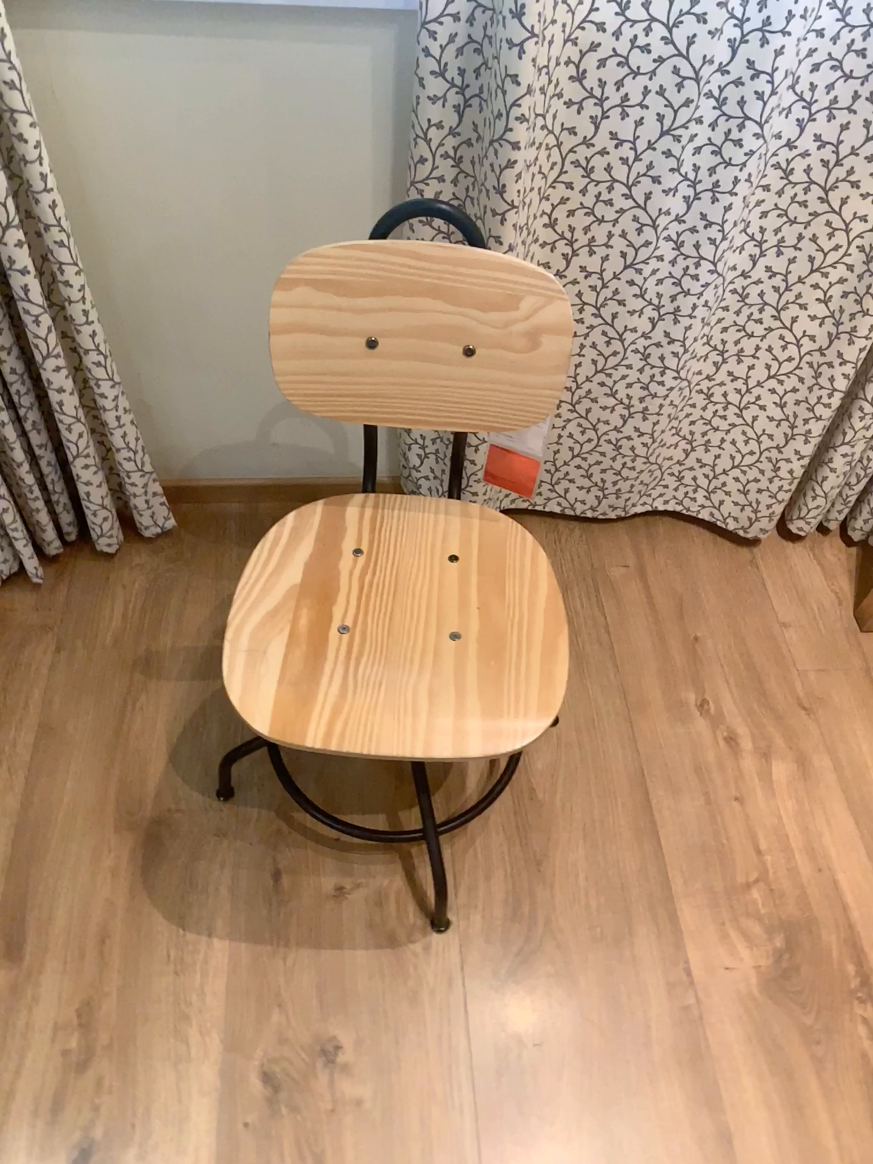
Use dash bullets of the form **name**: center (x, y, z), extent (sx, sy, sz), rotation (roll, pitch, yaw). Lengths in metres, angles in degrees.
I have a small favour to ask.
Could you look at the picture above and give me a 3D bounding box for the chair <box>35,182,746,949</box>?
- **chair**: center (-0.033, 0.000, 1.042), extent (0.490, 0.598, 0.632), rotation (4, 52, -1)
